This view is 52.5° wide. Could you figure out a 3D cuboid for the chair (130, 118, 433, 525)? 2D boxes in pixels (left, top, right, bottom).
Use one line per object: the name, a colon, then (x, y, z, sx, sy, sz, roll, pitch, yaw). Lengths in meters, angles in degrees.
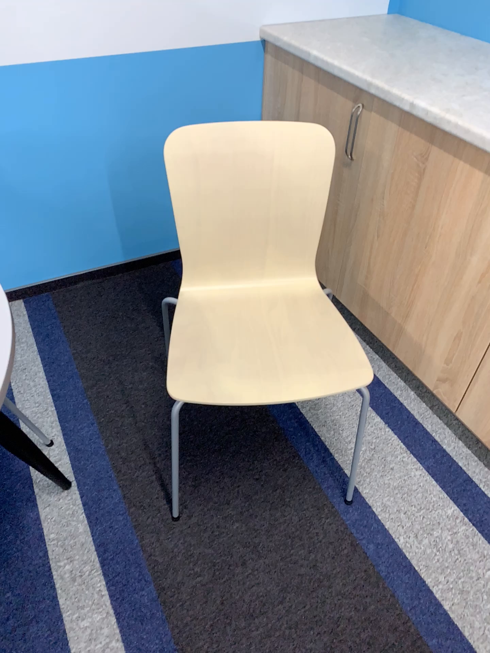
chair: (0.022, 0.002, 1.259, 0.476, 0.836, 0.573, -3, 41, -6)
